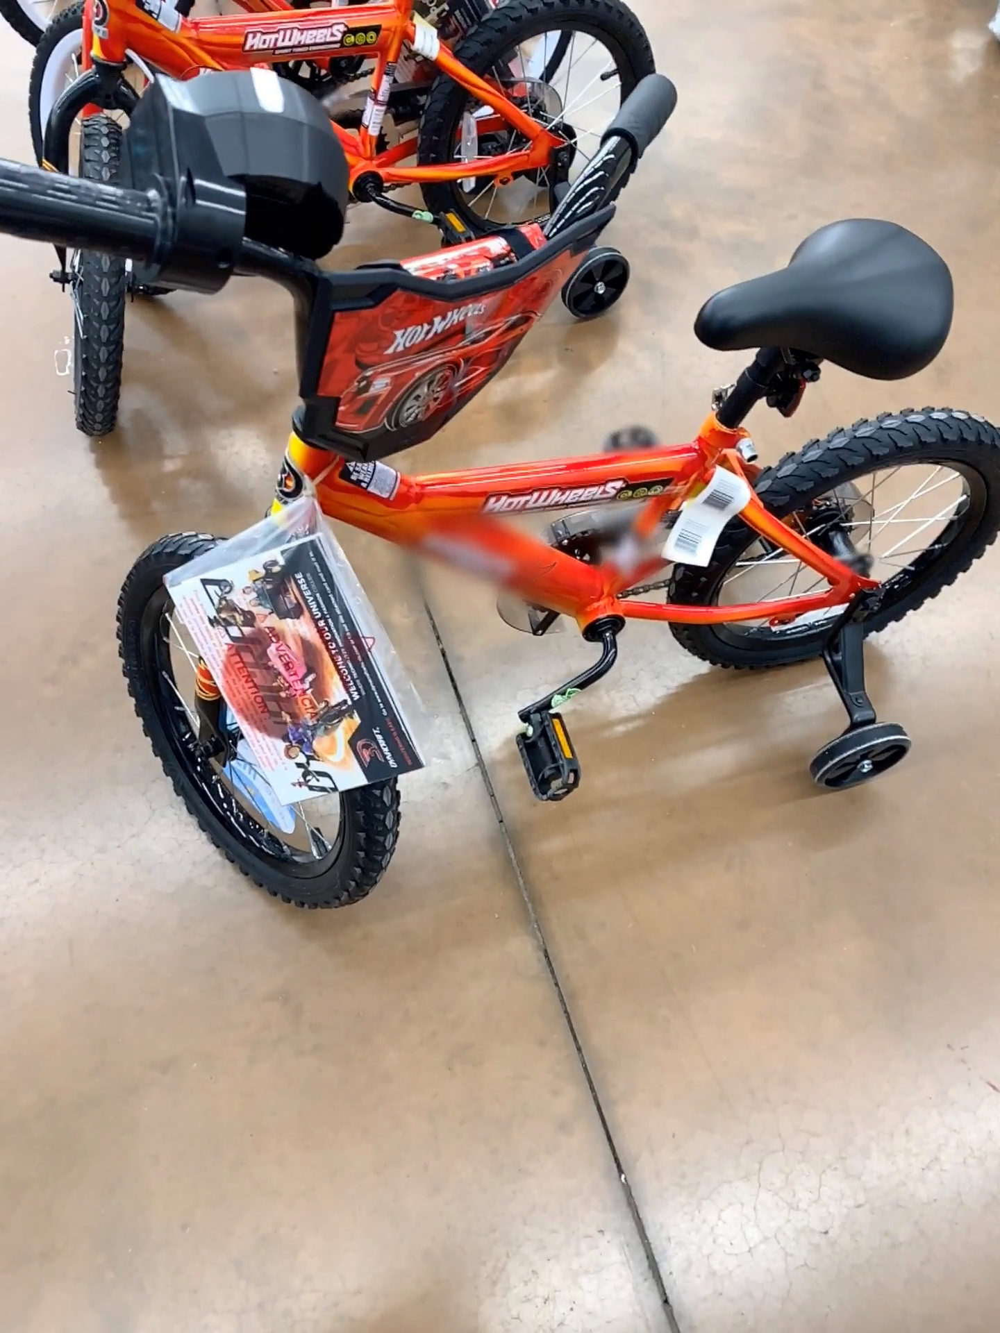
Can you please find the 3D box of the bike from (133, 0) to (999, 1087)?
[{"bbox_3d":[0.159,-0.129,0.976,0.740,0.825,0.511,-26,61,-11],"label":"bike"}]
